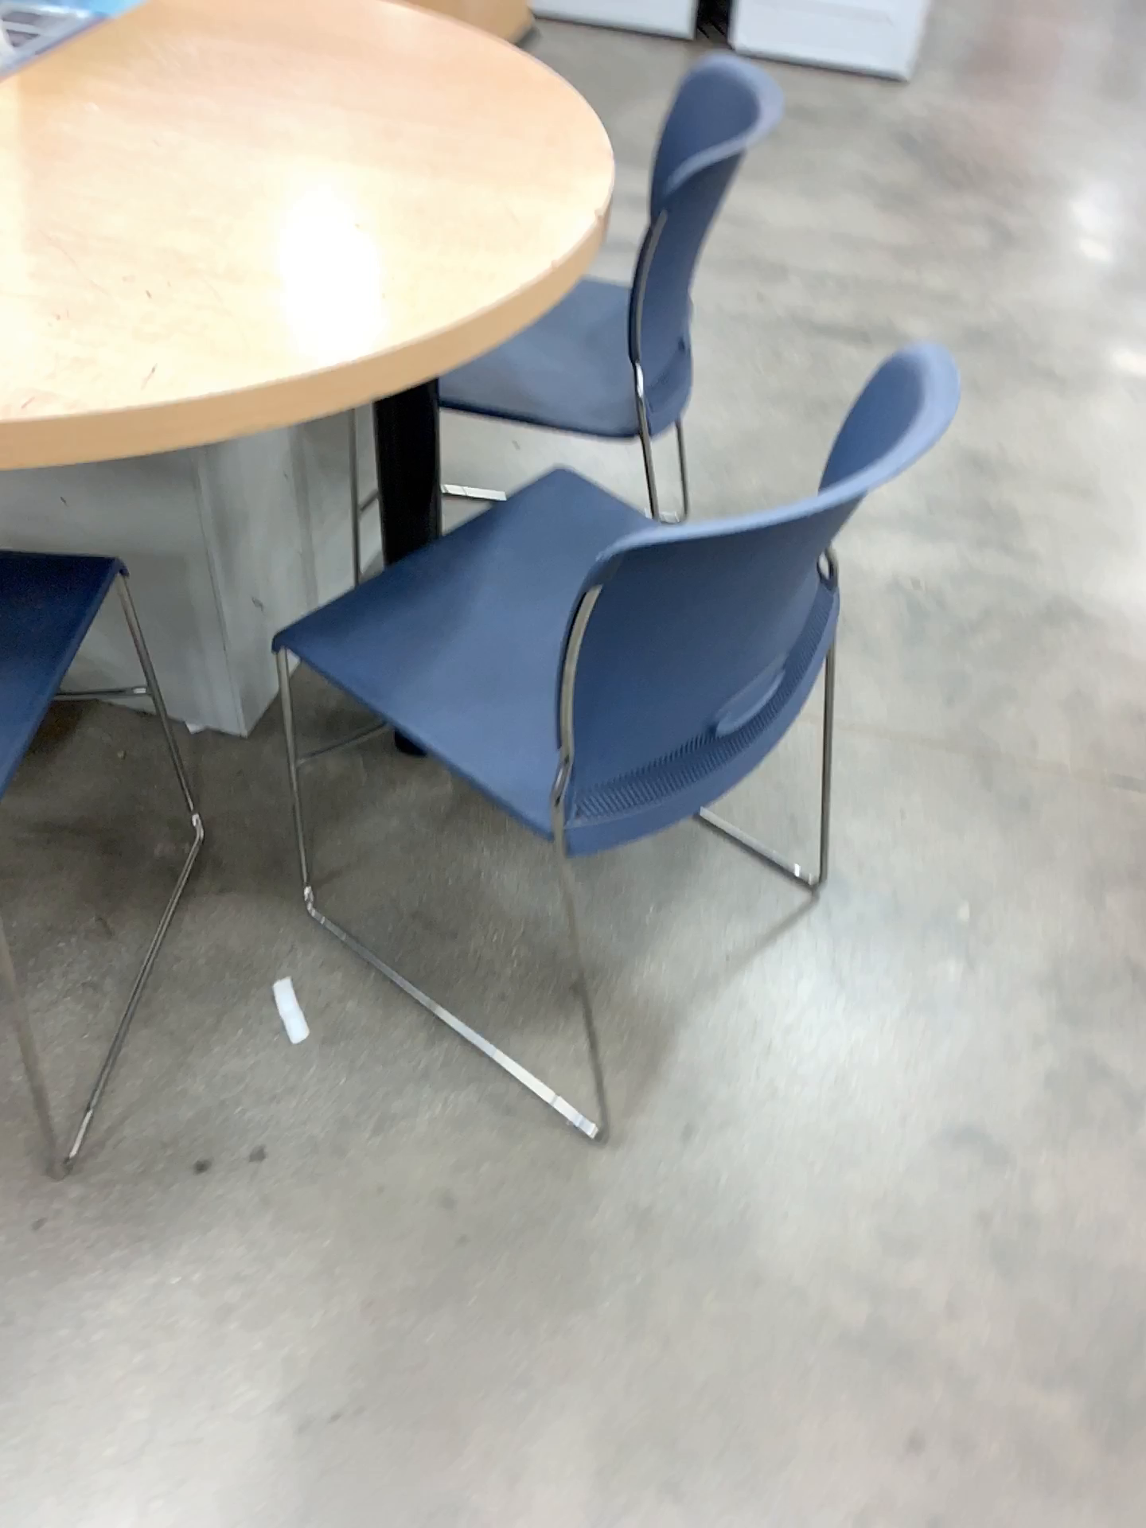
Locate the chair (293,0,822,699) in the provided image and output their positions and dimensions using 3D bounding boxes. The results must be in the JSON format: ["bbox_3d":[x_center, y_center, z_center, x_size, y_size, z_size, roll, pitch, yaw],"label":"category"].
[{"bbox_3d":[-0.022,-0.558,1.594,0.531,0.750,0.485,7,46,0],"label":"chair"}]

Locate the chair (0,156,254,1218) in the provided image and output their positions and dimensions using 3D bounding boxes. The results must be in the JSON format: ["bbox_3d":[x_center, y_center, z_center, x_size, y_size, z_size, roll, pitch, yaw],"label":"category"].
[{"bbox_3d":[-0.652,-0.042,1.063,0.483,0.730,0.574,6,46,0],"label":"chair"}]

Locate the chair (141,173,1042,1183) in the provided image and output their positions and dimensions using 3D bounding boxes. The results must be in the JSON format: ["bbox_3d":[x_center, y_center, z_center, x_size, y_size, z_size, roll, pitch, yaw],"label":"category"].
[{"bbox_3d":[0.001,-0.080,1.206,0.552,0.750,0.485,31,51,23],"label":"chair"}]
